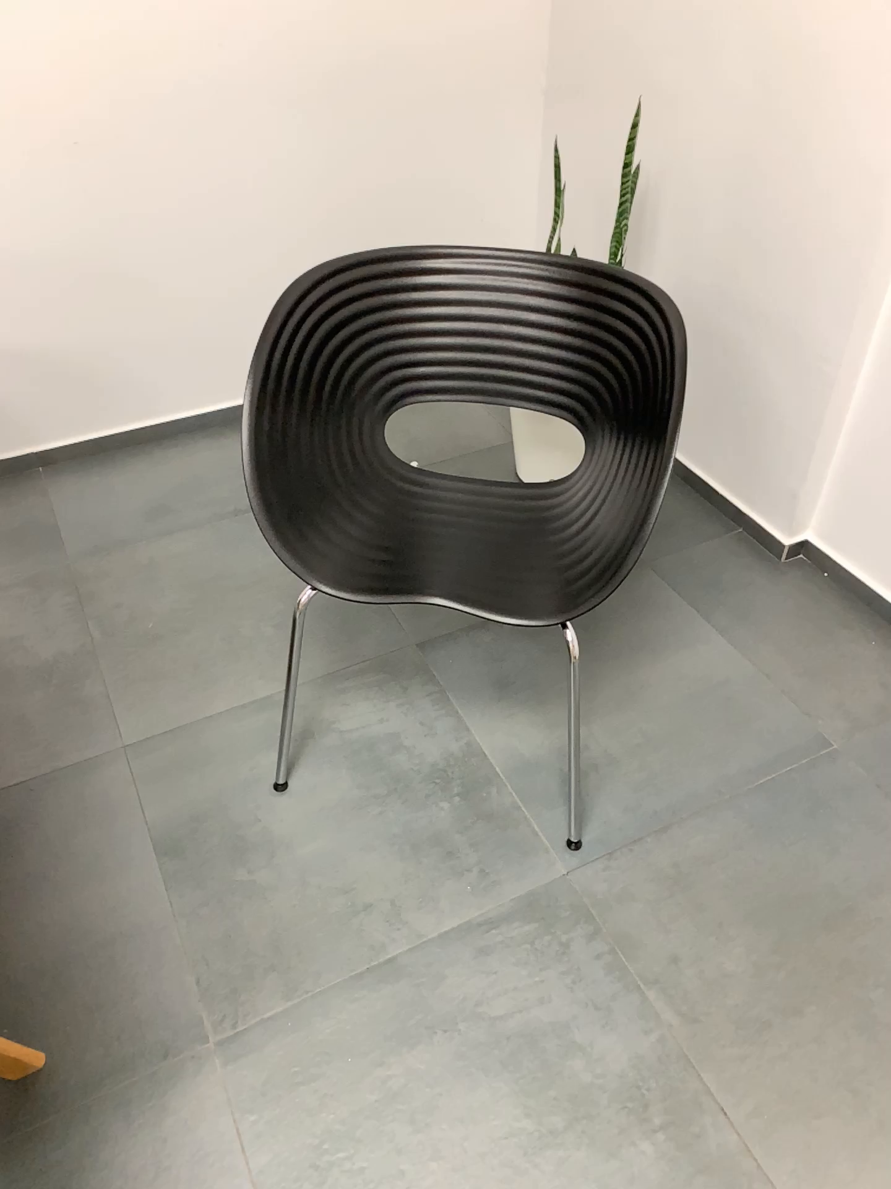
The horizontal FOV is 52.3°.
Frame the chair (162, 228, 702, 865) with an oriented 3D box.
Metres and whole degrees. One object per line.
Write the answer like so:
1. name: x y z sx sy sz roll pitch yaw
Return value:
1. chair: 0.032 -0.093 1.581 0.650 0.796 0.643 9 42 10
